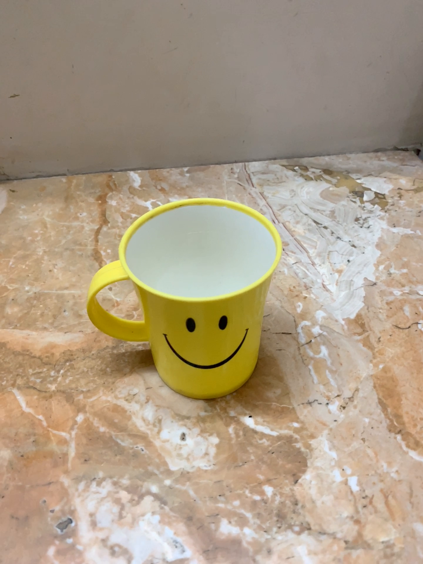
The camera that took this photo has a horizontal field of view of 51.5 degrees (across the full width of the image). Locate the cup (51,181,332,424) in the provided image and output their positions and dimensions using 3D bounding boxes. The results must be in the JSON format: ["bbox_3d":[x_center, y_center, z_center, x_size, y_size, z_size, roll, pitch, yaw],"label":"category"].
[{"bbox_3d":[-0.011,0.011,0.226,0.110,0.089,0.071,-7,45,-6],"label":"cup"}]
